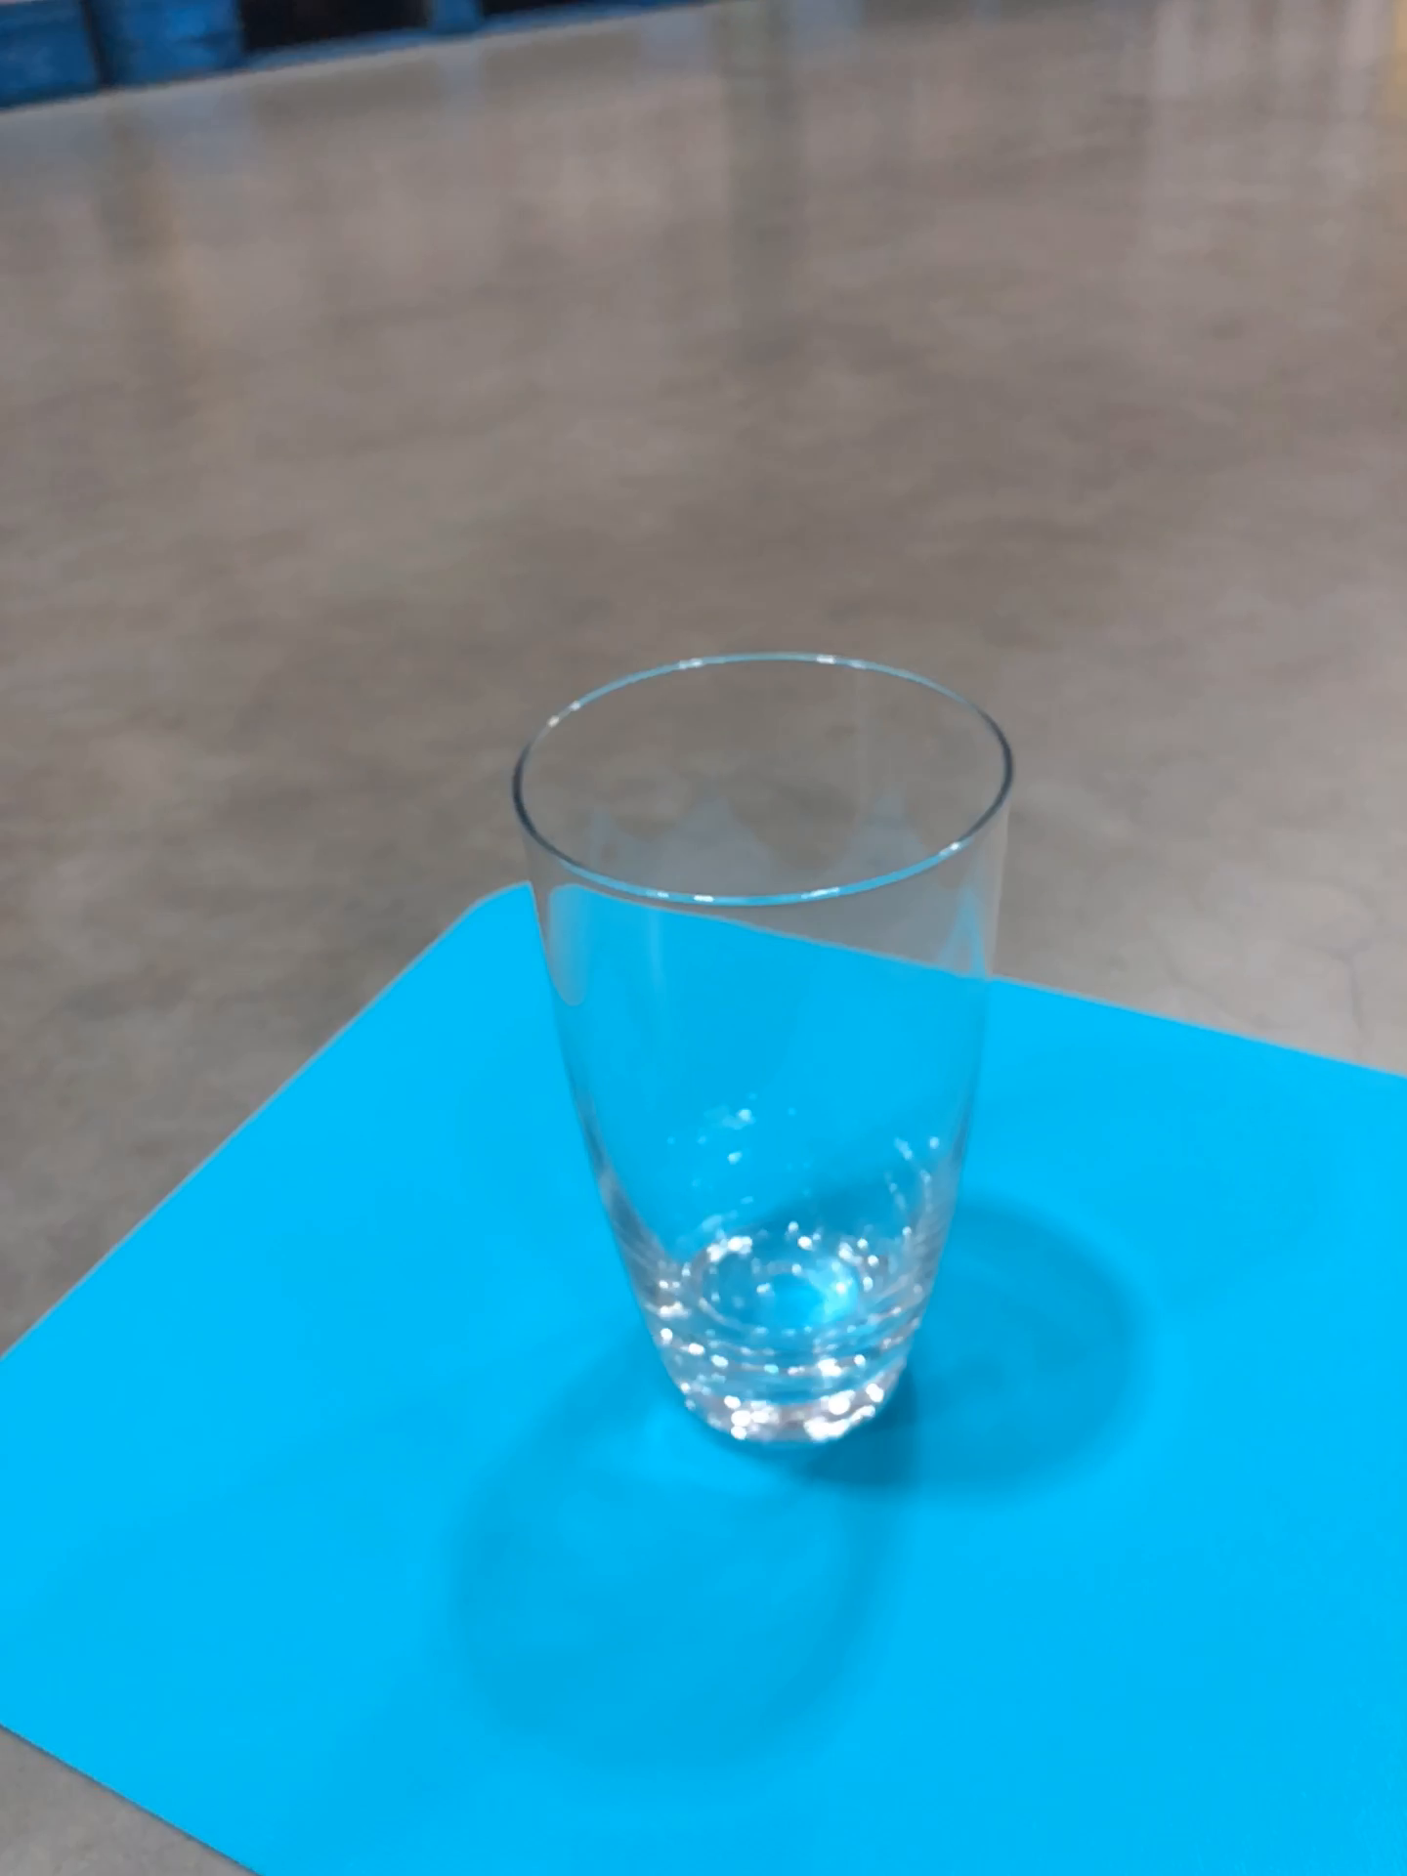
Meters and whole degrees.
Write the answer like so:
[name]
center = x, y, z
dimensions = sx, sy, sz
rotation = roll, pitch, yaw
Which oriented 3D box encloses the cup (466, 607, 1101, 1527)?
[cup]
center = 0.015, 0.028, 0.336
dimensions = 0.100, 0.159, 0.100
rotation = -3, 35, 2
